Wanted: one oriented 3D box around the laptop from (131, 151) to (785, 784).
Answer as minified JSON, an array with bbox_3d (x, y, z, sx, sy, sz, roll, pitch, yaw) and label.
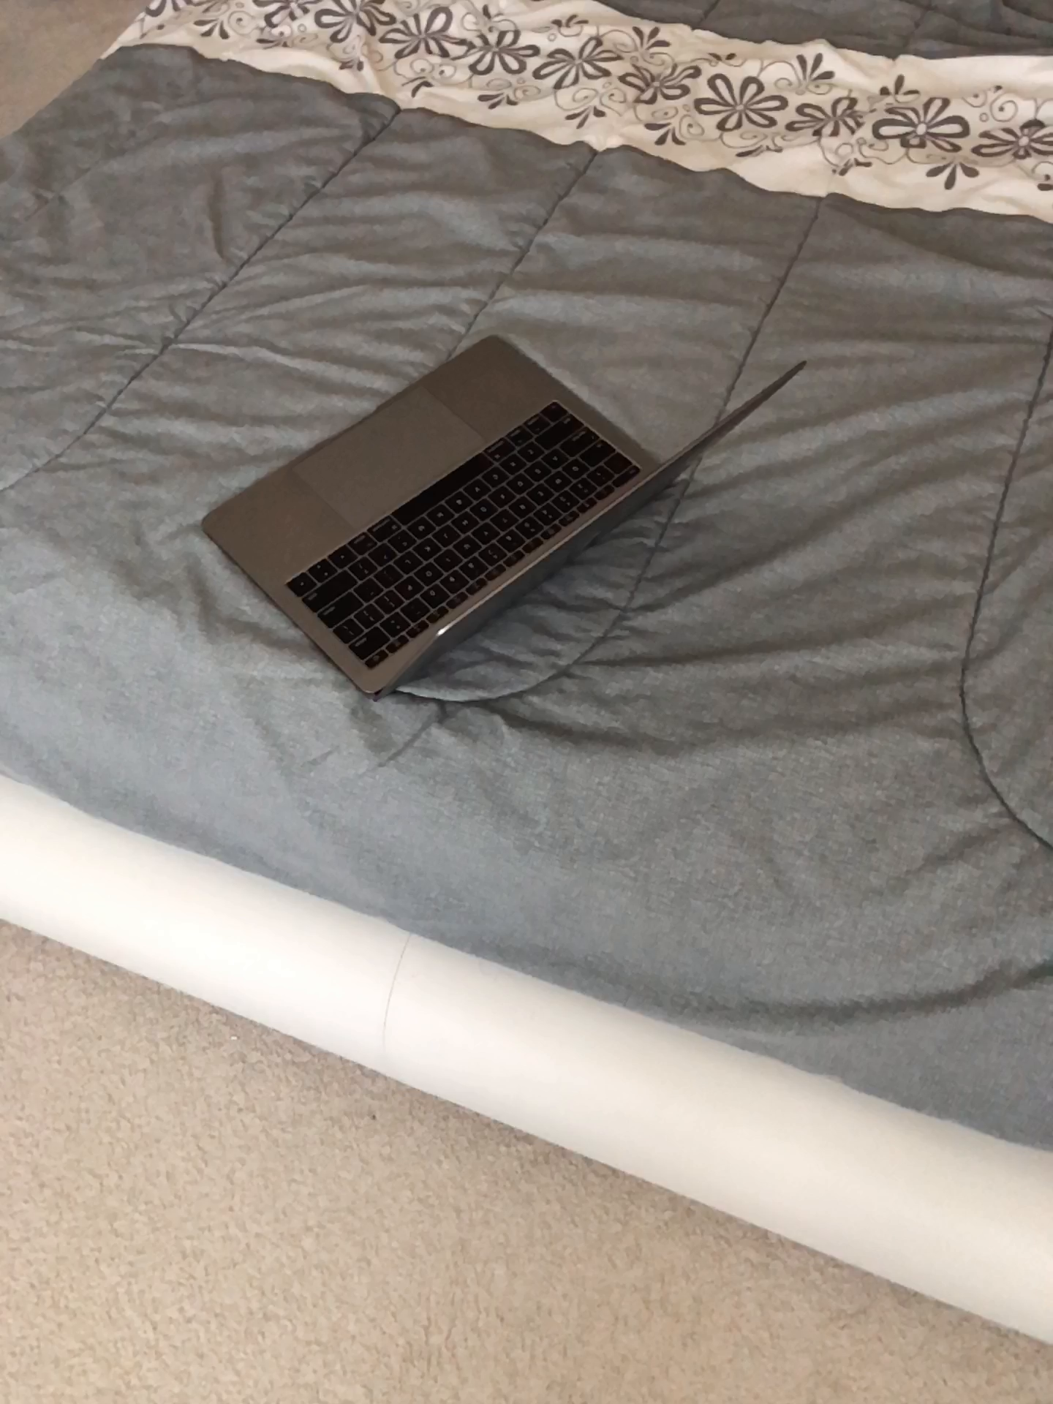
[{"bbox_3d":[-0.039,-0.165,0.763,0.280,0.159,0.282,-38,65,-20],"label":"laptop"}]
